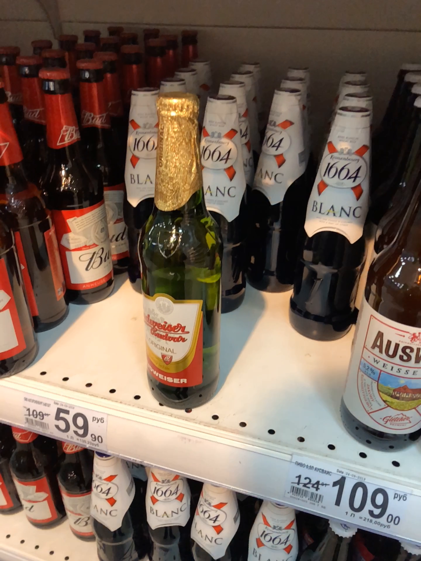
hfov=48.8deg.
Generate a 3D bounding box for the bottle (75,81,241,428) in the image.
[{"bbox_3d":[-0.033,-0.011,0.366,0.080,0.254,0.070,20,37,29],"label":"bottle"}]
